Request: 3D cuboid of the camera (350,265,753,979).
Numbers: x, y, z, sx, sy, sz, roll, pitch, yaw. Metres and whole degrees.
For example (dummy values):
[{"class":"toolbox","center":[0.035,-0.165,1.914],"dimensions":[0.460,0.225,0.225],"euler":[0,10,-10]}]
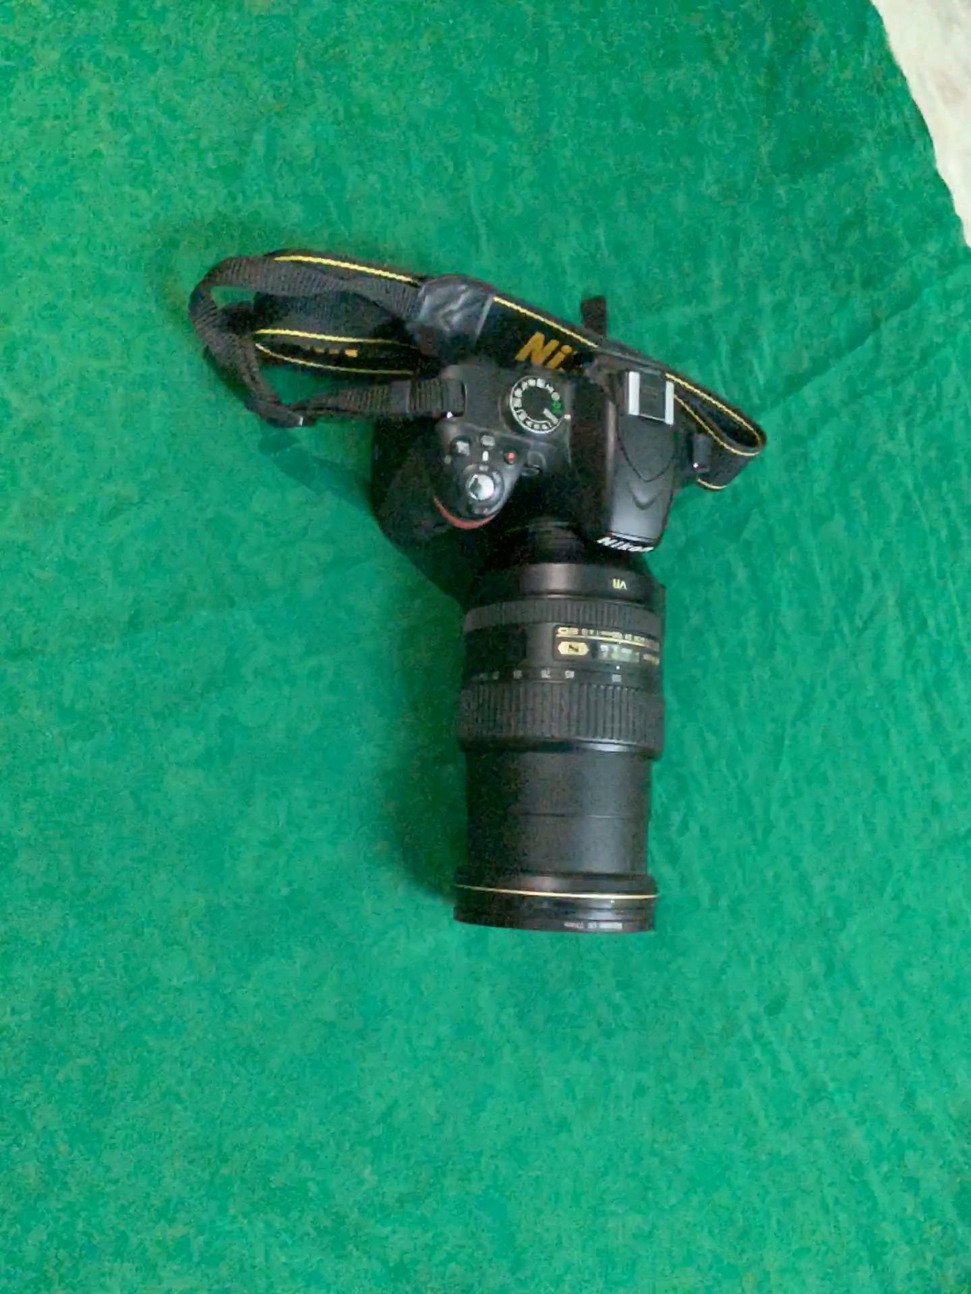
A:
[{"class":"camera","center":[0.026,-0.003,0.389],"dimensions":[0.123,0.088,0.234],"euler":[6,81,-27]}]
